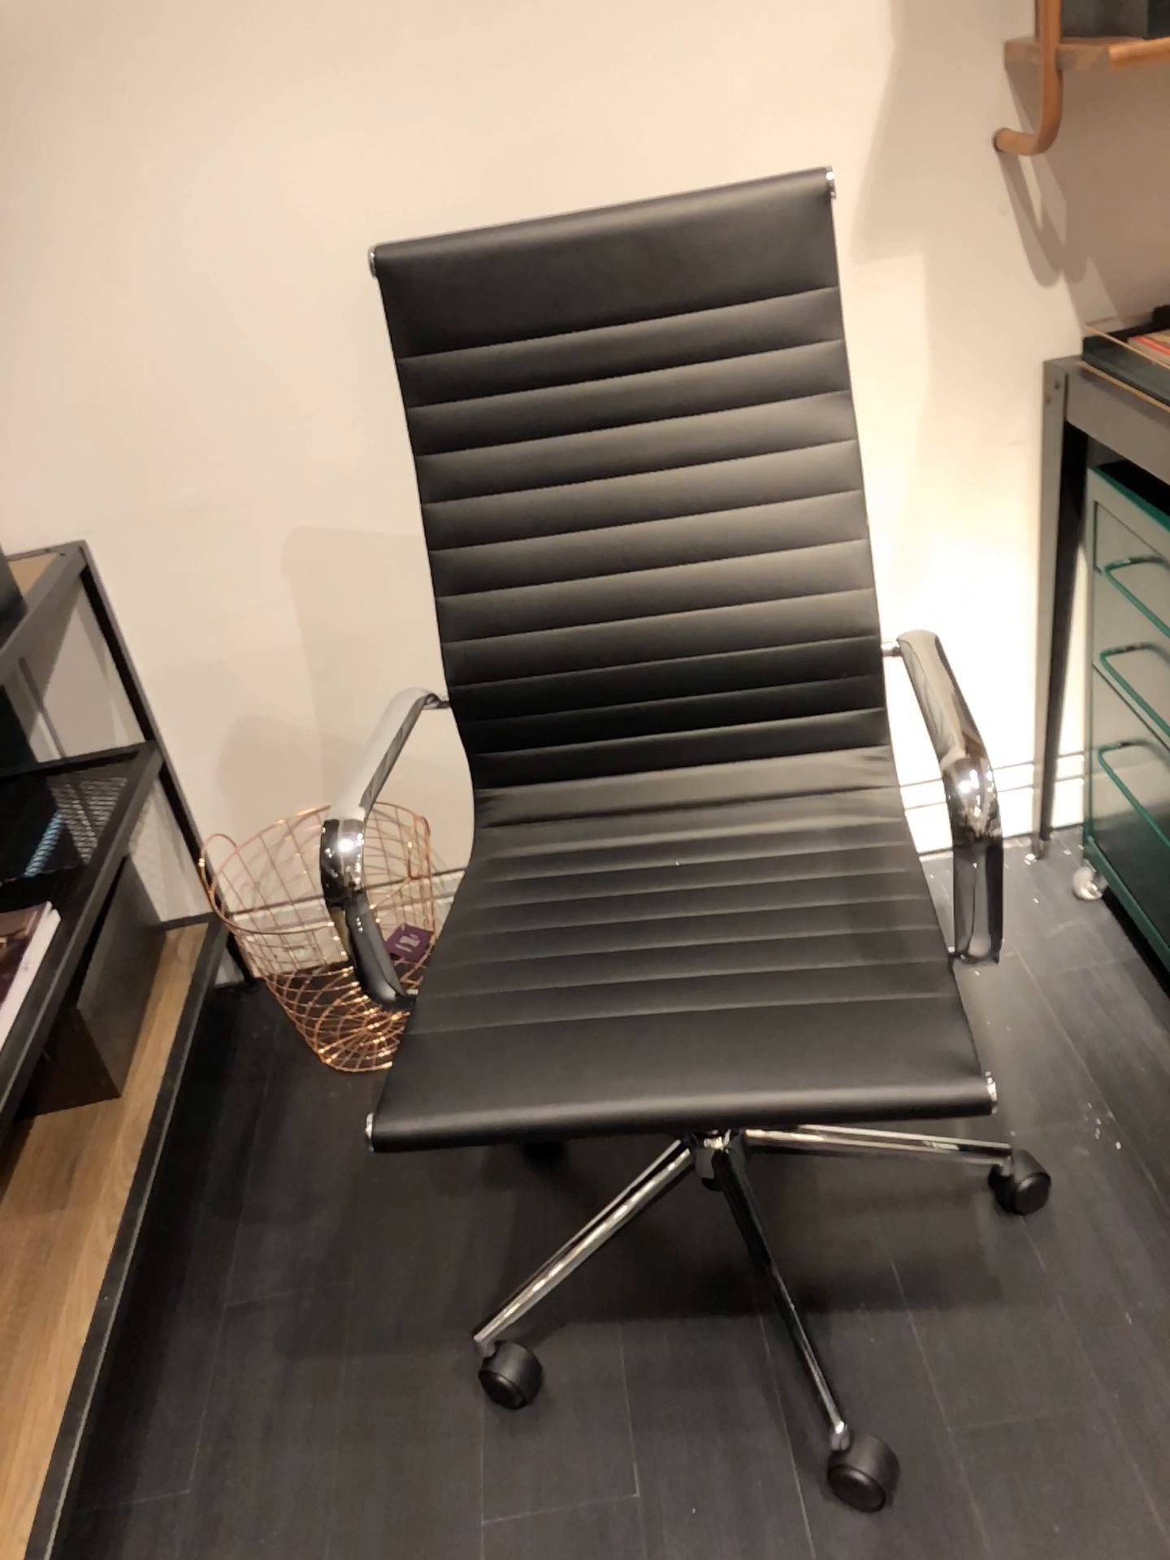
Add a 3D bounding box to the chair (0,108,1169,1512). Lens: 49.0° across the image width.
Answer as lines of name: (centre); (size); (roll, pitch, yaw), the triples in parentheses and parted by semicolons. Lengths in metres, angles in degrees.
chair: (0.111, 0.049, 1.200); (0.680, 1.052, 0.665); (-6, 31, 9)
